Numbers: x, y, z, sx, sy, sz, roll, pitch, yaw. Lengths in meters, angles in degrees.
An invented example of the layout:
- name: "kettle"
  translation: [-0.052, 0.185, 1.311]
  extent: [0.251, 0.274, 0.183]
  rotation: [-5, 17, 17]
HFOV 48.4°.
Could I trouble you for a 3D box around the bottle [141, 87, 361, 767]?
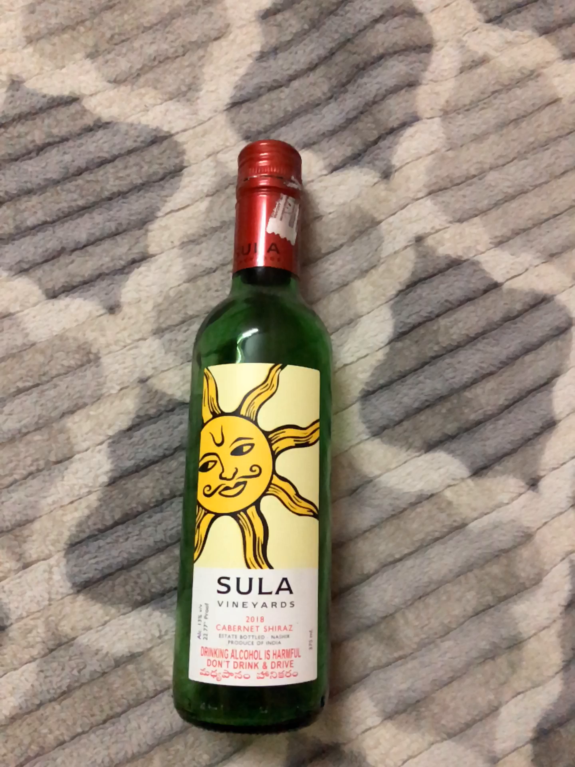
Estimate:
- name: "bottle"
  translation: [-0.009, 0.012, 0.235]
  extent: [0.060, 0.050, 0.230]
  rotation: [3, 80, 0]
